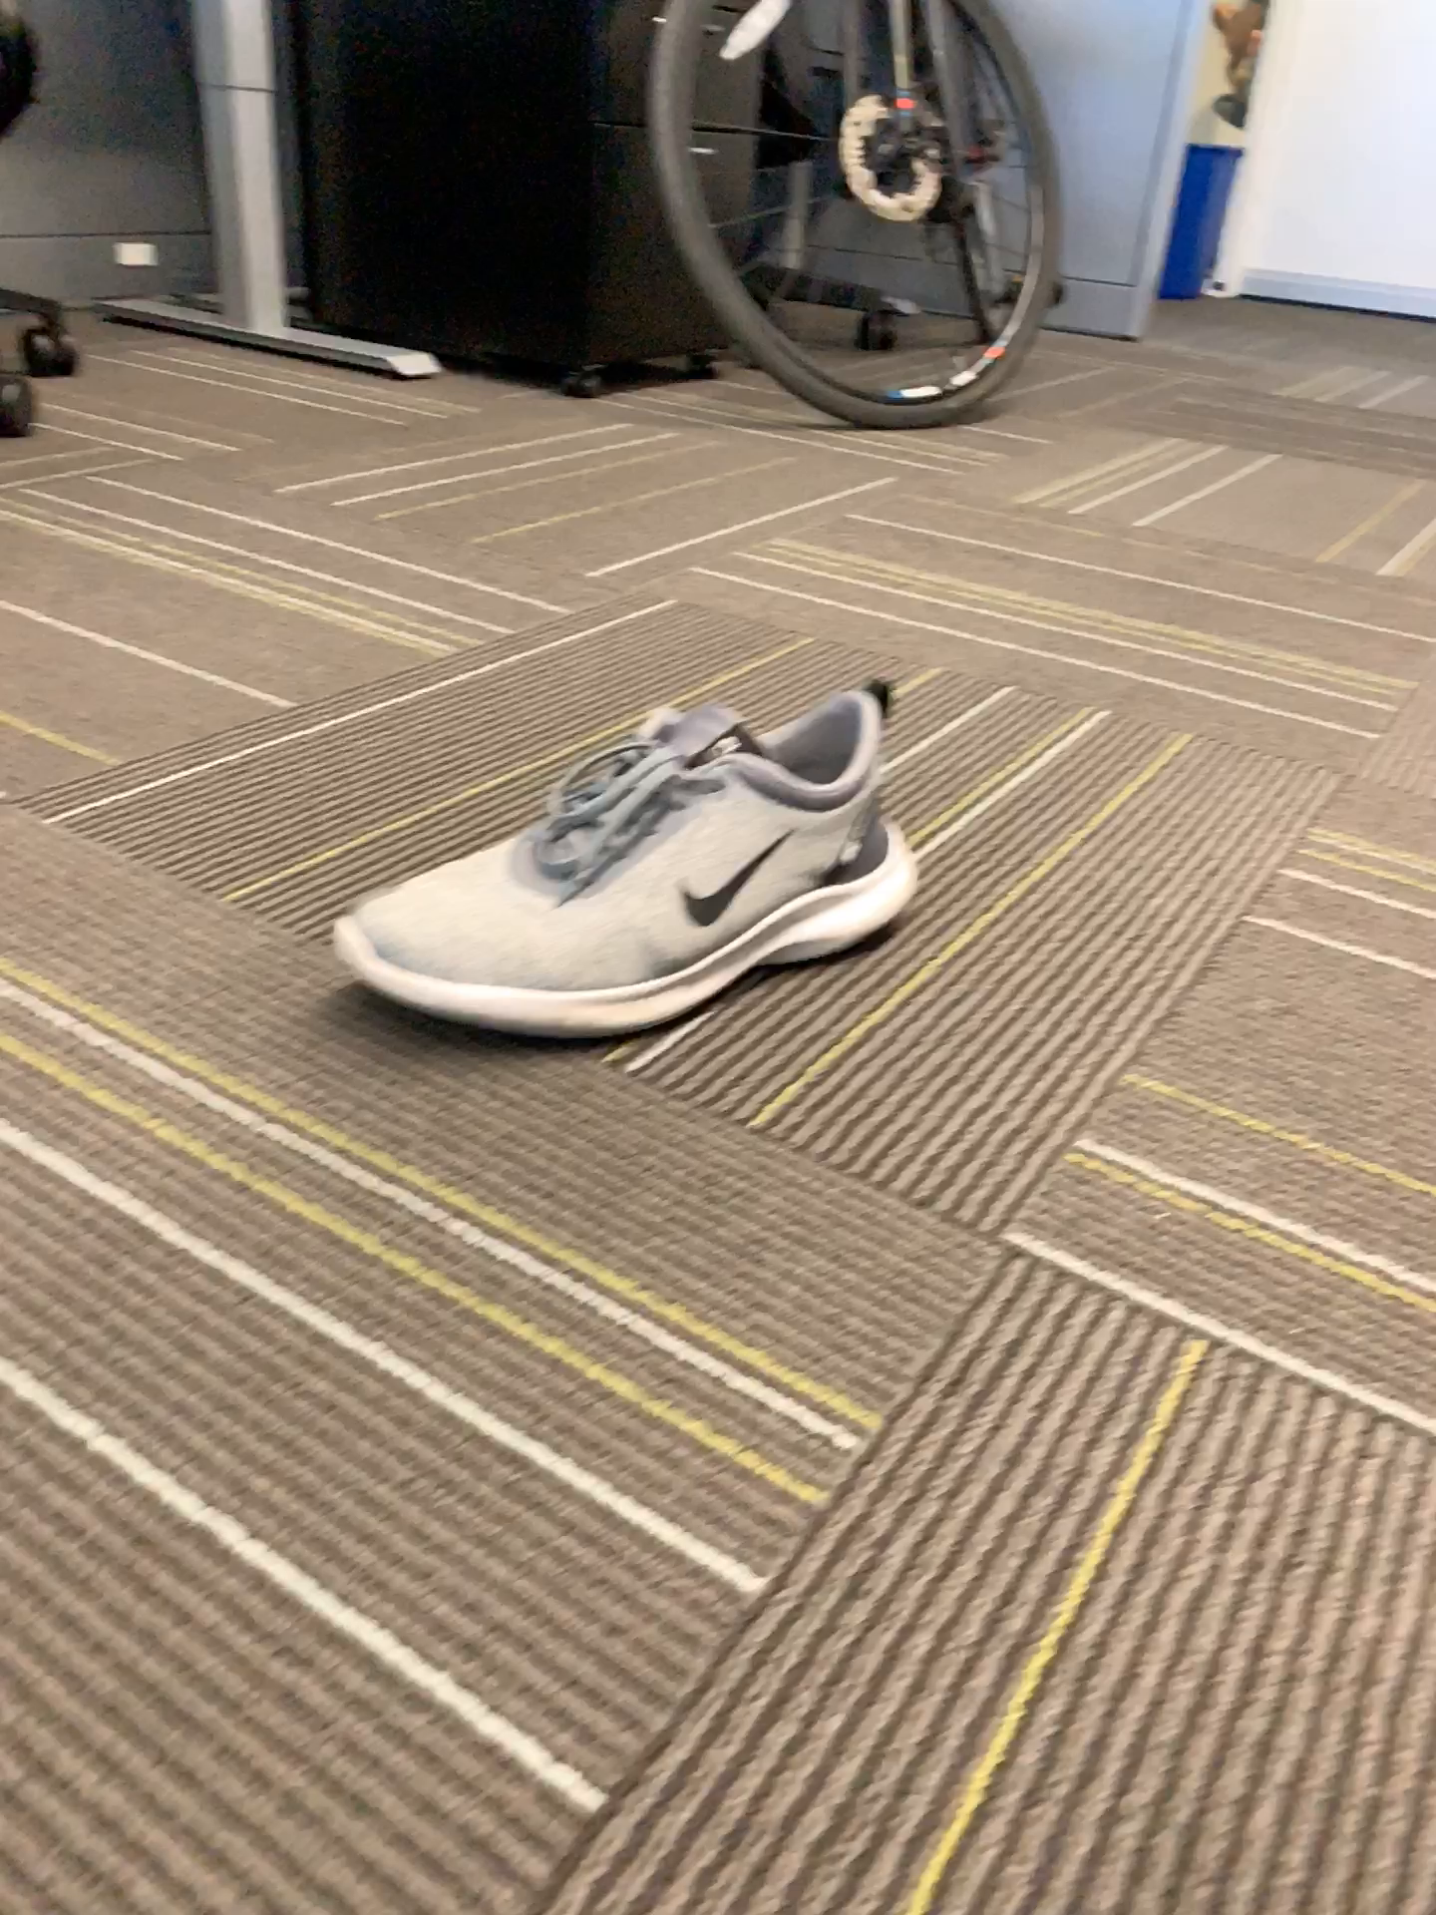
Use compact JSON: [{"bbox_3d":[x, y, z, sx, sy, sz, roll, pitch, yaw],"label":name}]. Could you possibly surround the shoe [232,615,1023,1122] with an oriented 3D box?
[{"bbox_3d":[-0.033,-0.063,0.696,0.330,0.109,0.161,-20,38,-36],"label":"shoe"}]
